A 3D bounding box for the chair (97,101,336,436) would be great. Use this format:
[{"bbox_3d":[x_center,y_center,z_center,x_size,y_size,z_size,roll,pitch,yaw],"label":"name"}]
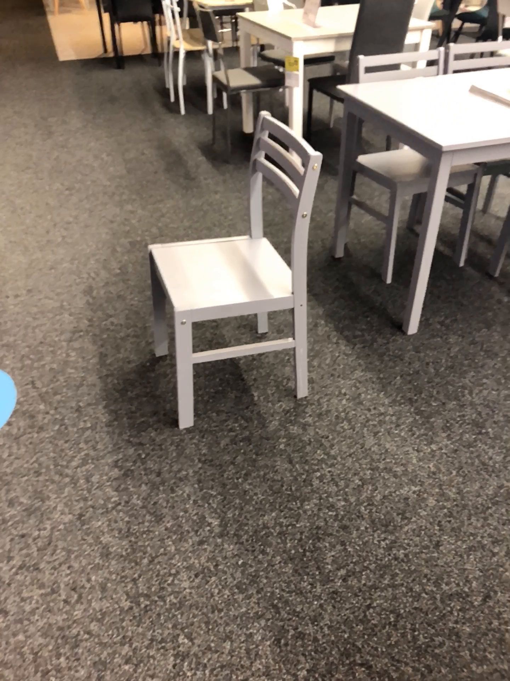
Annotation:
[{"bbox_3d":[-0.118,-0.219,1.656,0.491,0.766,0.492,-13,39,-15],"label":"chair"}]
